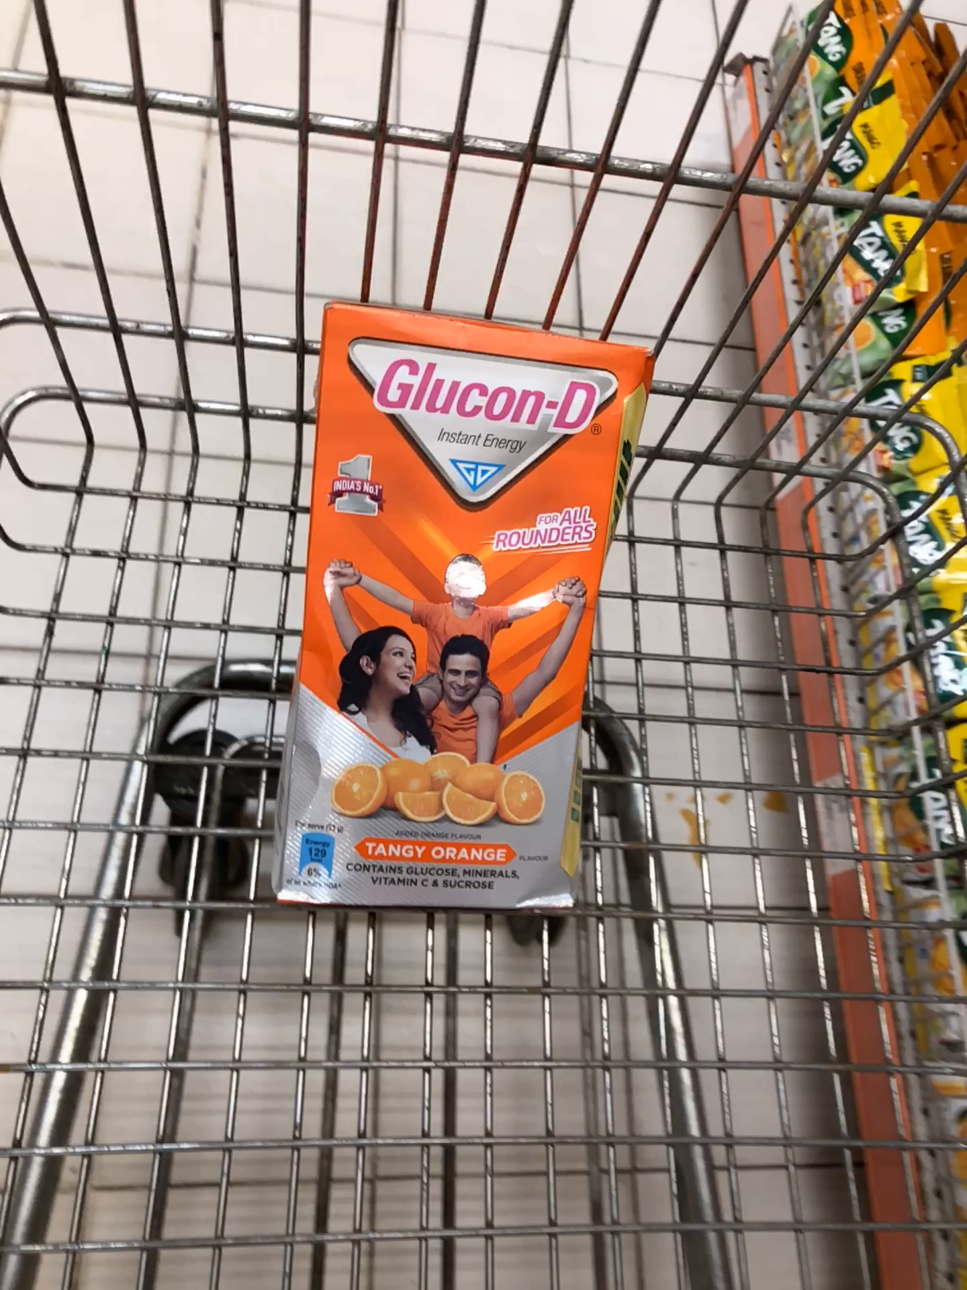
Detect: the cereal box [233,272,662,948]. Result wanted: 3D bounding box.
[{"bbox_3d":[-0.020,-0.011,0.394,0.120,0.100,0.210,4,97,-10],"label":"cereal box"}]
